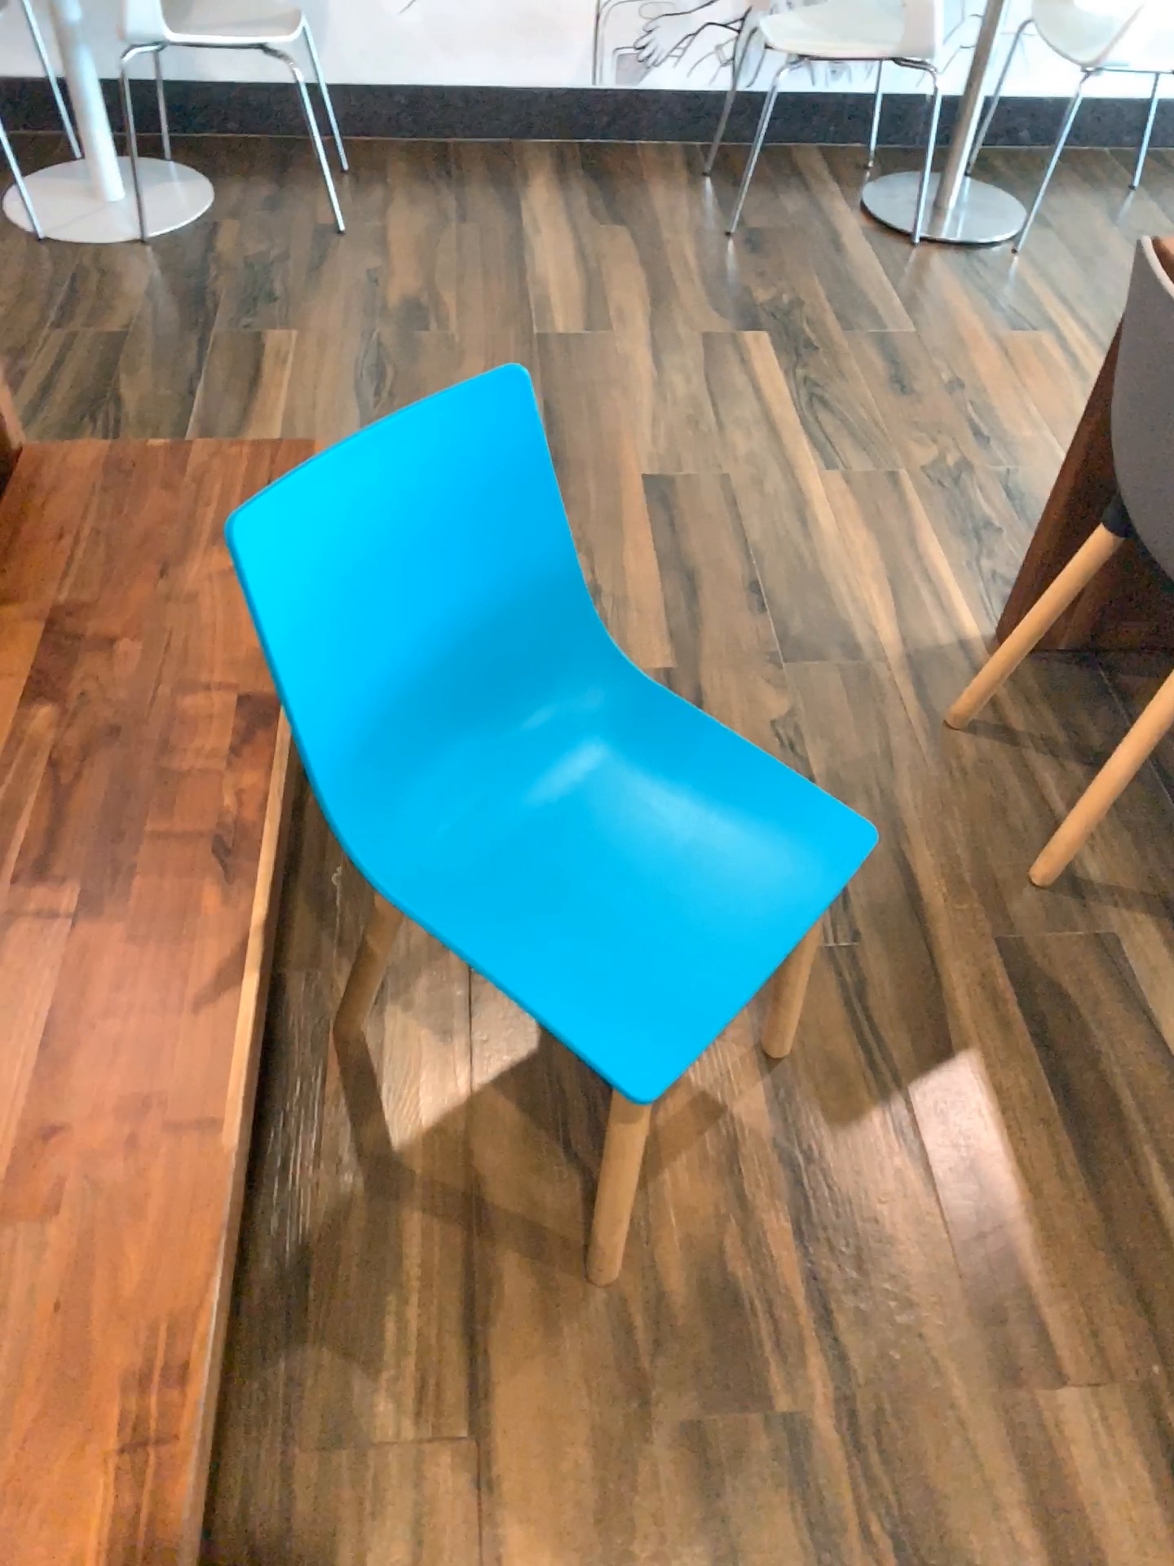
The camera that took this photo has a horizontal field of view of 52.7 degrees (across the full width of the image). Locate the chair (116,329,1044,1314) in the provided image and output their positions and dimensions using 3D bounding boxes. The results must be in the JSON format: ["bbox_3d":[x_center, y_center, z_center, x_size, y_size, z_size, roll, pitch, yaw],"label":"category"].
[{"bbox_3d":[-0.016,0.034,1.229,0.582,0.665,0.512,34,54,24],"label":"chair"}]
